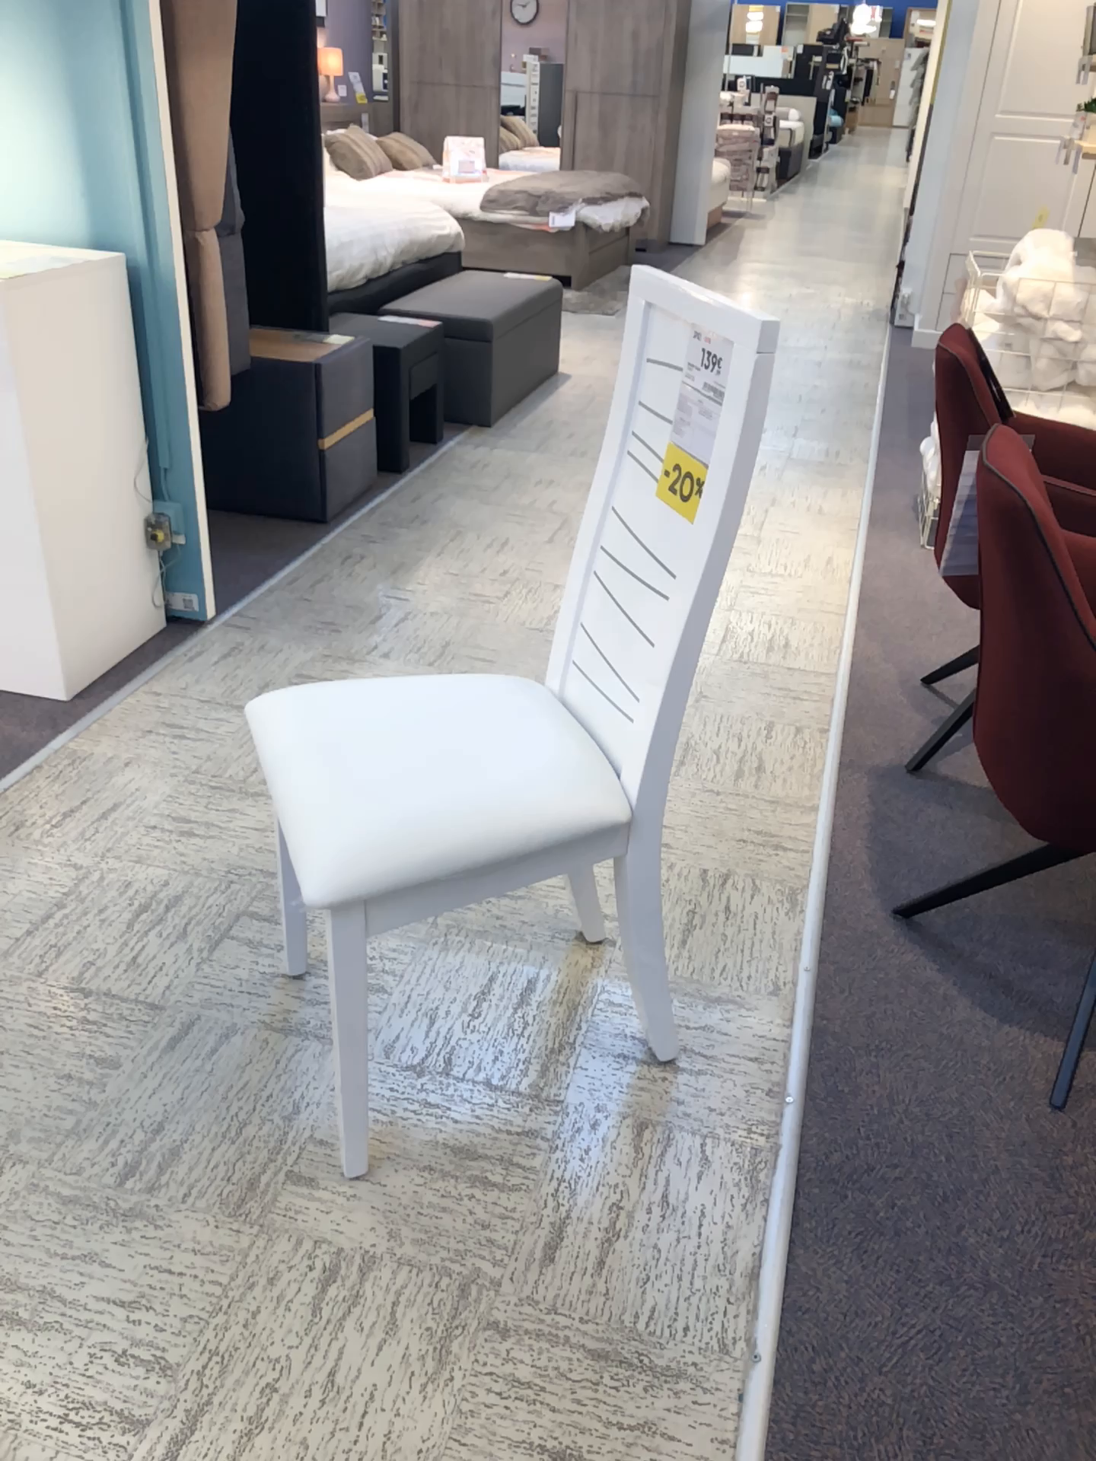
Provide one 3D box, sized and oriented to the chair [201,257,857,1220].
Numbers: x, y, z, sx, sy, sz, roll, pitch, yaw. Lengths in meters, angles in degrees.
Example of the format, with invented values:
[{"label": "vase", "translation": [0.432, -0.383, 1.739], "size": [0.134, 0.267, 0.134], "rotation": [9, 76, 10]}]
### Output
[{"label": "chair", "translation": [-0.068, -0.004, 1.449], "size": [0.541, 1.004, 0.452], "rotation": [-8, 31, -20]}]
